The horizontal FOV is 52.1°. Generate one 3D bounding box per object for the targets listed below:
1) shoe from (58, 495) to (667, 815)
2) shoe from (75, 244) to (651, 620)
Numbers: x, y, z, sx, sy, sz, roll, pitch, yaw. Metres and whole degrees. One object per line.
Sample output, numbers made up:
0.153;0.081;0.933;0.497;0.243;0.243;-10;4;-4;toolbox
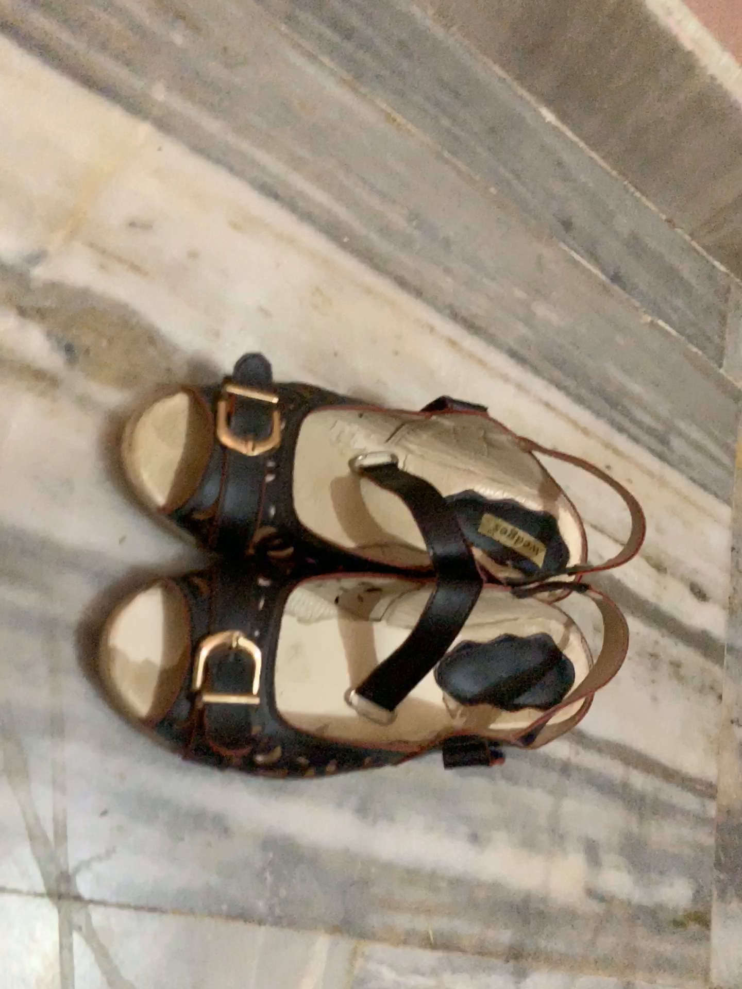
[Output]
0.011;0.084;0.351;0.261;0.100;0.100;14;71;-33;shoe
0.010;-0.007;0.370;0.261;0.100;0.100;14;71;-33;shoe
